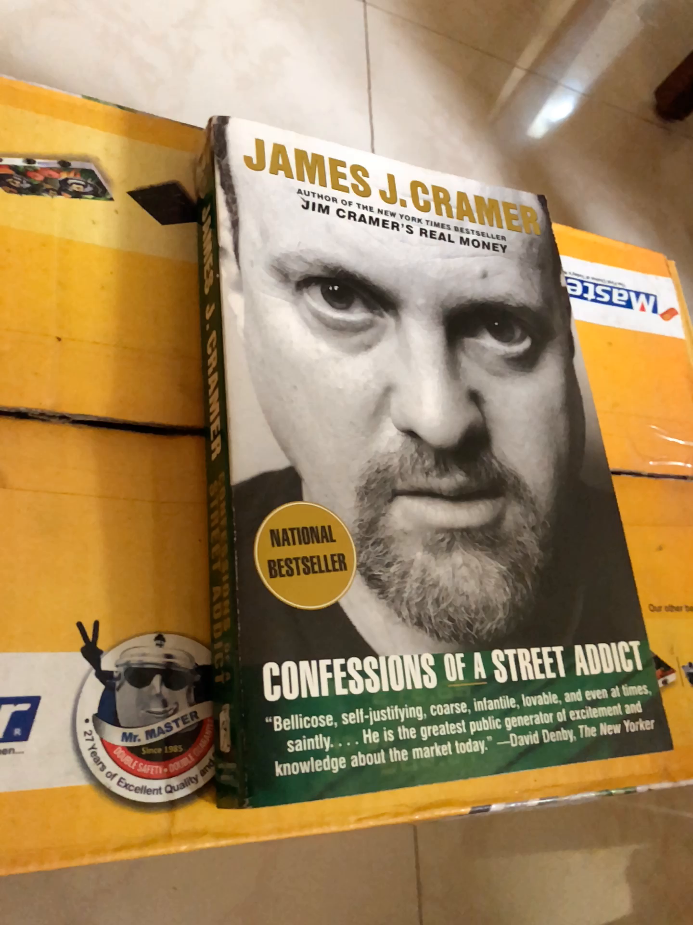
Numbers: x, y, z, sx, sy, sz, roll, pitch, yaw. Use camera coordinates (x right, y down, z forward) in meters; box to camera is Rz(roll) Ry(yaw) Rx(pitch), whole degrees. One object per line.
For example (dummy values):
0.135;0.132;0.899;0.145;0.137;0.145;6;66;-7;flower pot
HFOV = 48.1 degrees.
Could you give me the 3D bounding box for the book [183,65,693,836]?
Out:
0.024;-0.014;0.257;0.140;0.030;0.230;4;67;-26;book
